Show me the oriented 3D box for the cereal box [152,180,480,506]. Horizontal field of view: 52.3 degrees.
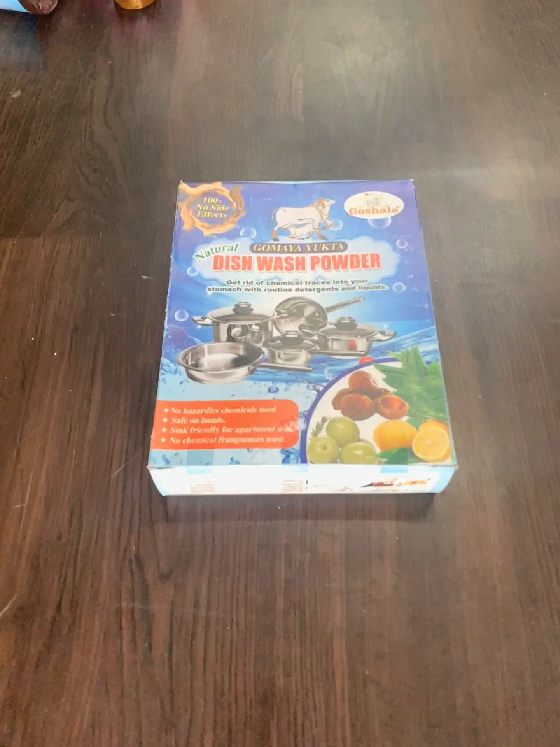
[{"bbox_3d":[0.016,-0.021,0.312,0.140,0.060,0.170,-1,60,2],"label":"cereal box"}]
